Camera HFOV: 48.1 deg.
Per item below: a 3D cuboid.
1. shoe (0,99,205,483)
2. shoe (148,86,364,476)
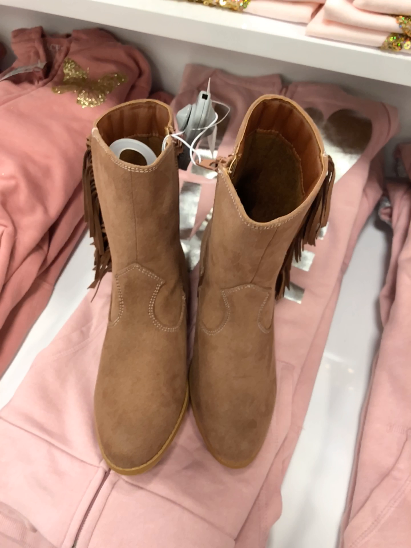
[{"bbox_3d":[-0.054,0.018,0.339,0.092,0.199,0.201,0,50,3],"label":"shoe"},{"bbox_3d":[0.028,0.016,0.338,0.092,0.199,0.211,0,57,3],"label":"shoe"}]
